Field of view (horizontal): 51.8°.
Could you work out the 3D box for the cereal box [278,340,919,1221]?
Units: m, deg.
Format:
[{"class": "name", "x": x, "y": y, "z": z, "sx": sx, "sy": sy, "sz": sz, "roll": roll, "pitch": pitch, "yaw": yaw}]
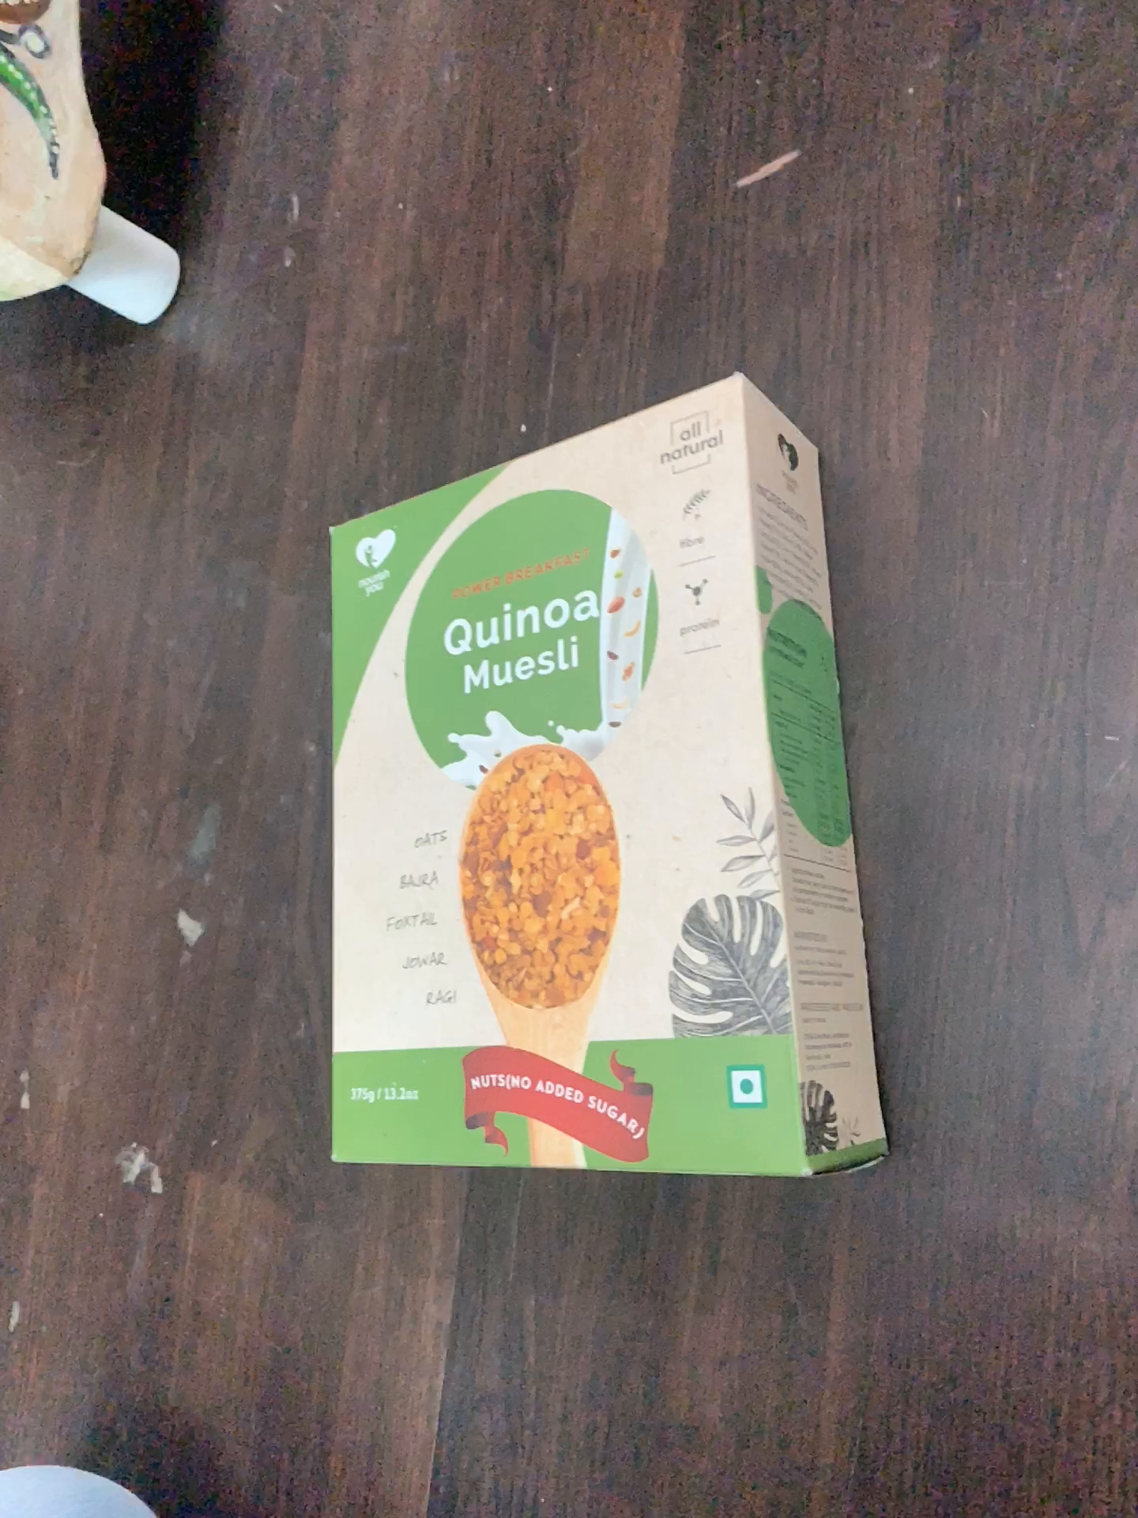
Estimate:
[{"class": "cereal box", "x": -0.003, "y": 0.015, "z": 0.351, "sx": 0.171, "sy": 0.070, "sz": 0.210, "roll": -11, "pitch": 76, "yaw": 35}]
